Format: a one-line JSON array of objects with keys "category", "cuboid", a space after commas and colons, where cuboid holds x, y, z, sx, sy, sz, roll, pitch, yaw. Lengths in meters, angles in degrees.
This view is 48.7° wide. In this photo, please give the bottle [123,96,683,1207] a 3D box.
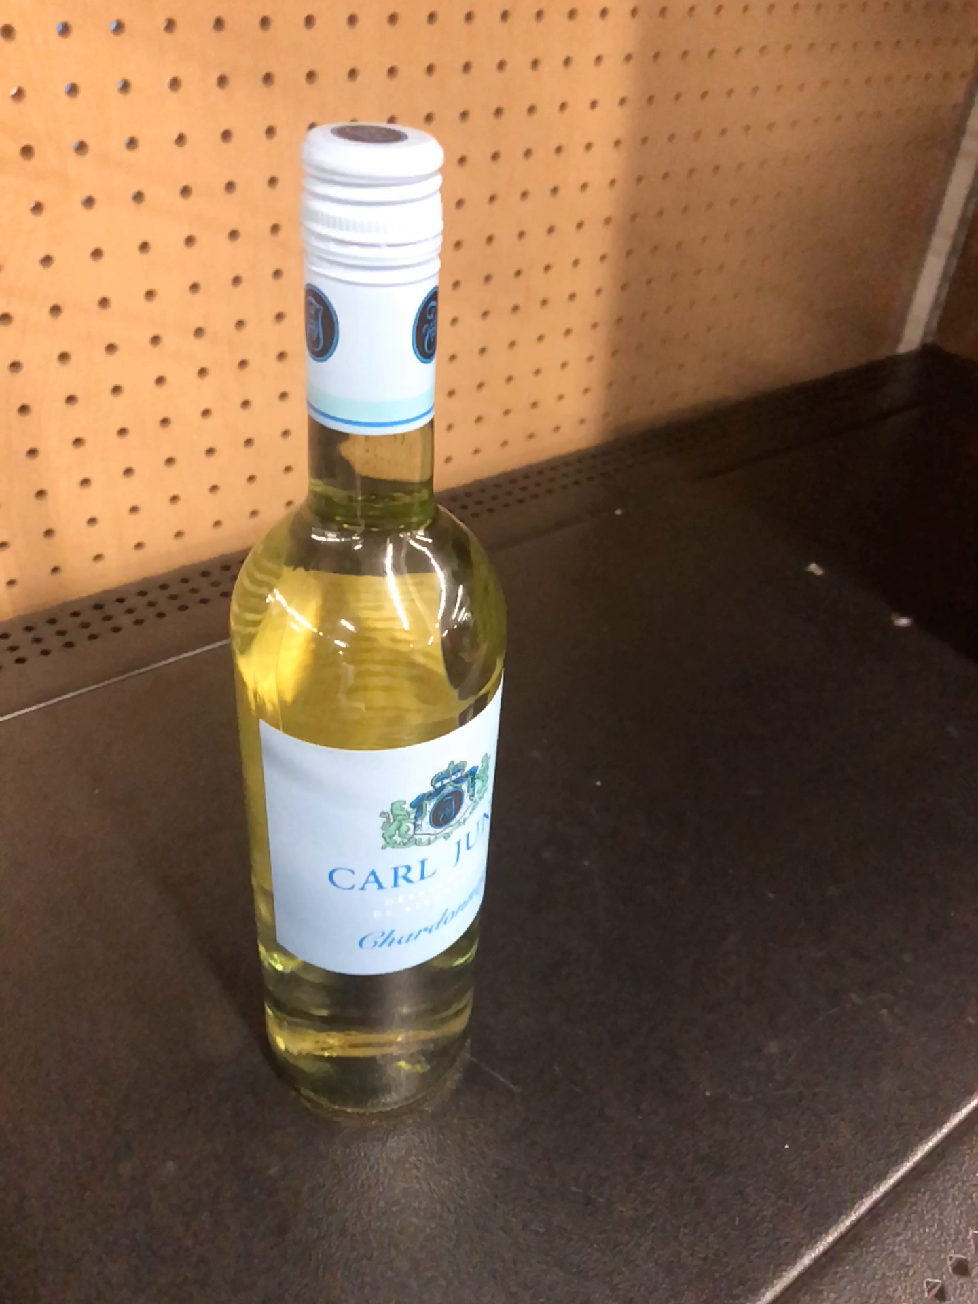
[{"category": "bottle", "cuboid": [-0.029, 0.025, 0.313, 0.080, 0.318, 0.080, 3, 37, -3]}]
